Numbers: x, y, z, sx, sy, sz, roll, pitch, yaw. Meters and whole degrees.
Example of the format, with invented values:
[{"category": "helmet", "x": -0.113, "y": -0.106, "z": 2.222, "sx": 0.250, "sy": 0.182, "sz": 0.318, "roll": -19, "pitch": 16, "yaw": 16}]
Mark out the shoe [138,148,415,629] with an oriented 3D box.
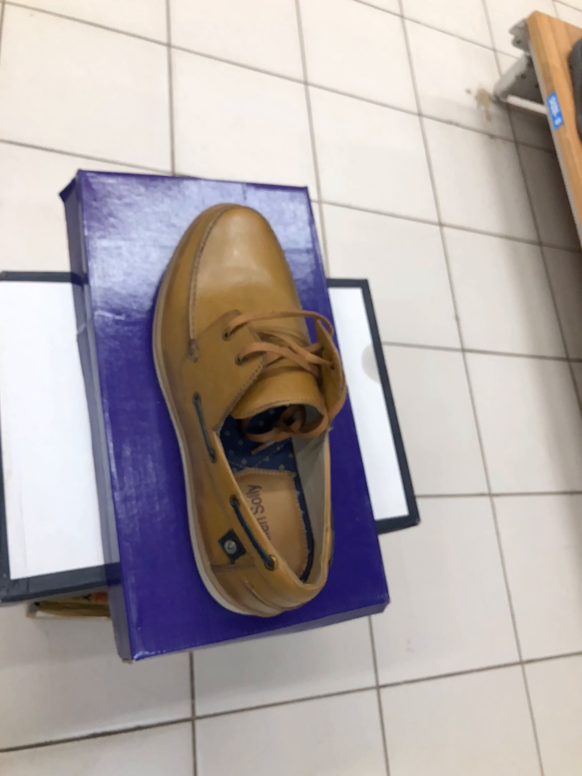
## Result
[{"category": "shoe", "x": -0.022, "y": 0.003, "z": 0.403, "sx": 0.100, "sy": 0.109, "sz": 0.260, "roll": -1, "pitch": 72, "yaw": -26}]
